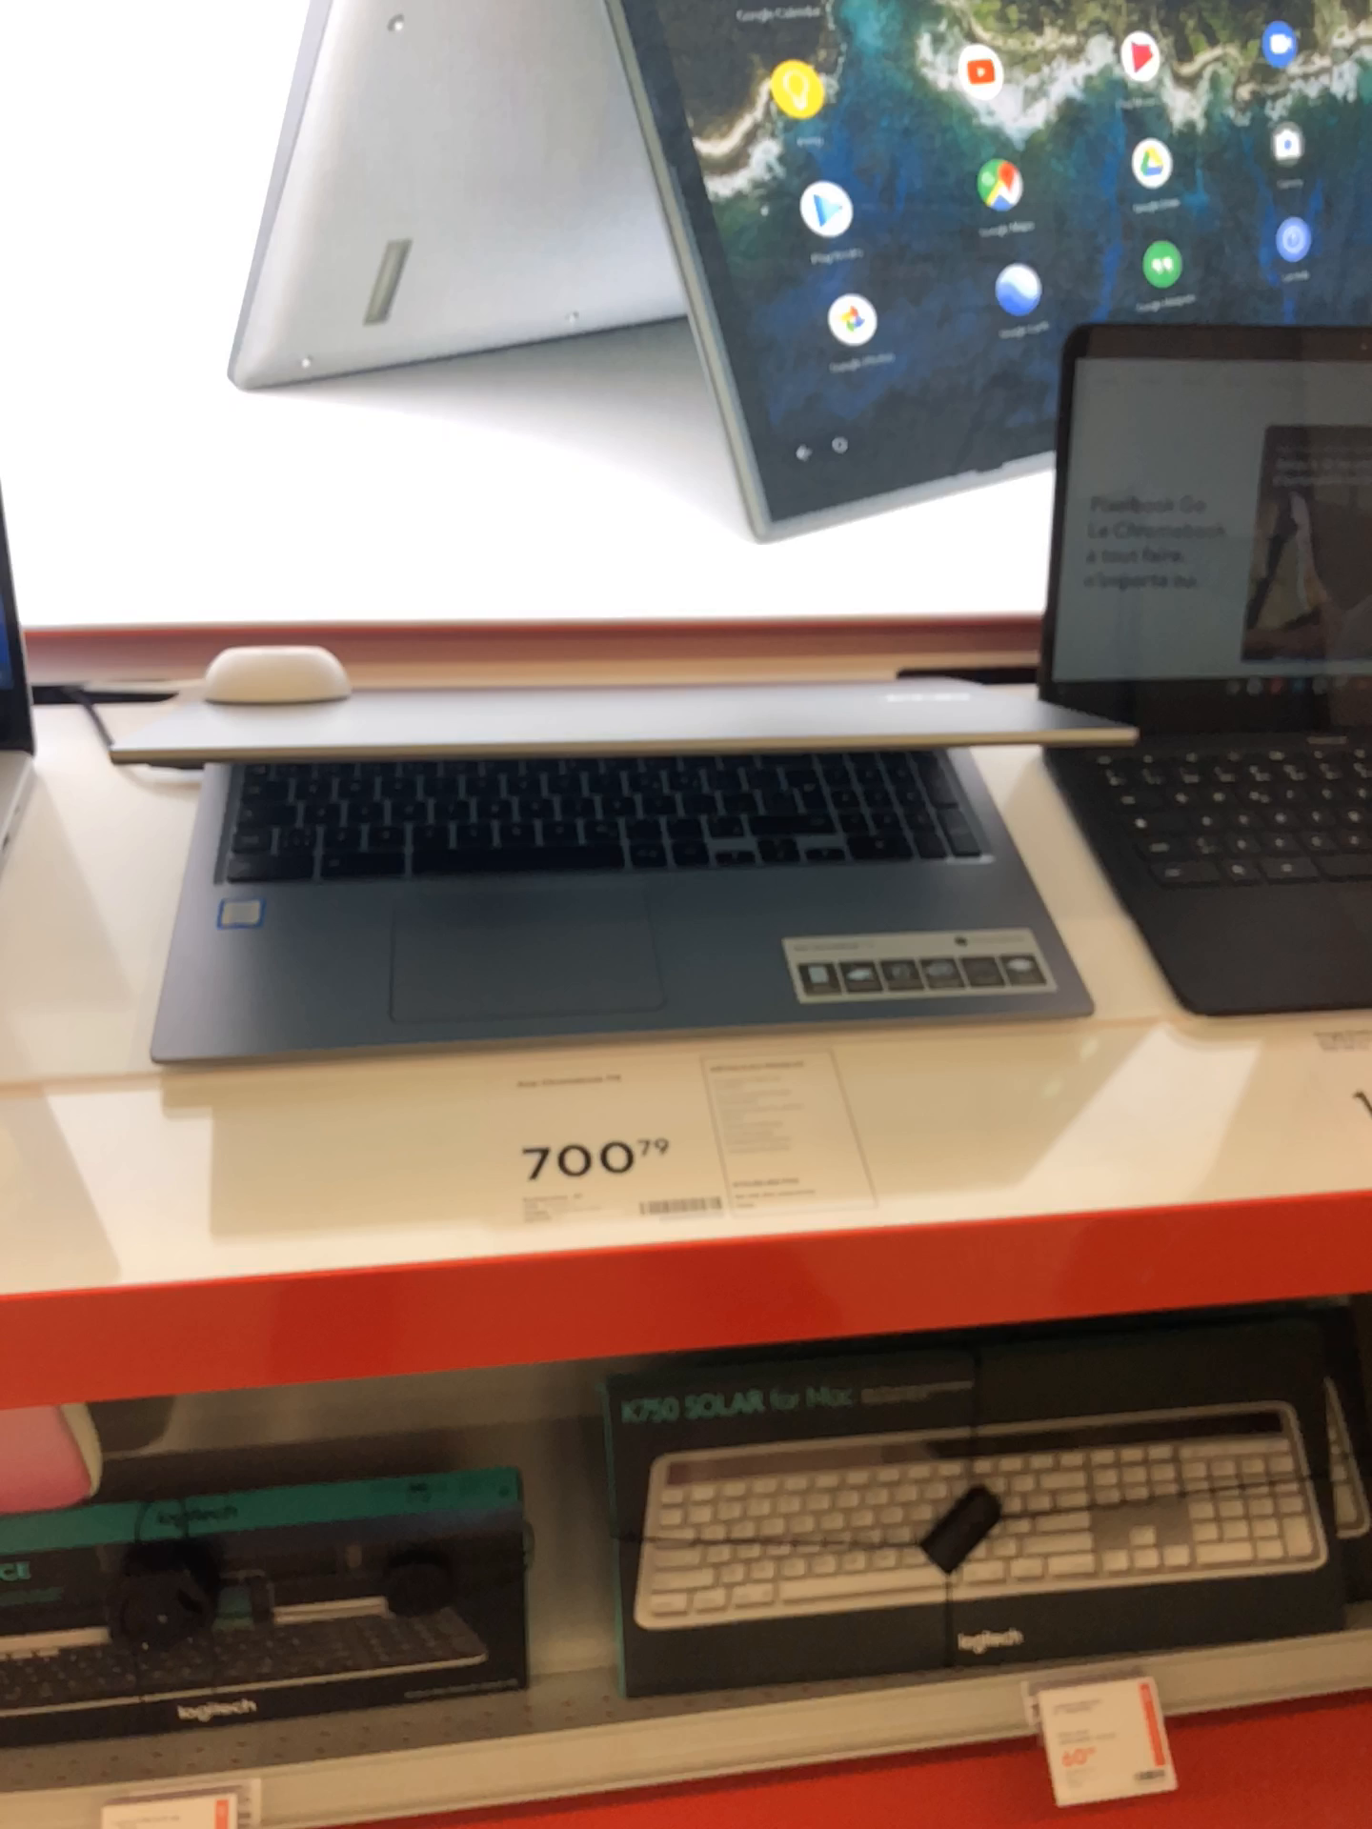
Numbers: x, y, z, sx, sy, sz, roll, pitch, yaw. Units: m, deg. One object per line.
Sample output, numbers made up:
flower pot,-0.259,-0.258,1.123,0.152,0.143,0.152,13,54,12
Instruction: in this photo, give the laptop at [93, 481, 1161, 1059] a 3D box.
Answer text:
laptop,-0.027,-0.077,0.646,0.368,0.109,0.245,-2,40,-10
